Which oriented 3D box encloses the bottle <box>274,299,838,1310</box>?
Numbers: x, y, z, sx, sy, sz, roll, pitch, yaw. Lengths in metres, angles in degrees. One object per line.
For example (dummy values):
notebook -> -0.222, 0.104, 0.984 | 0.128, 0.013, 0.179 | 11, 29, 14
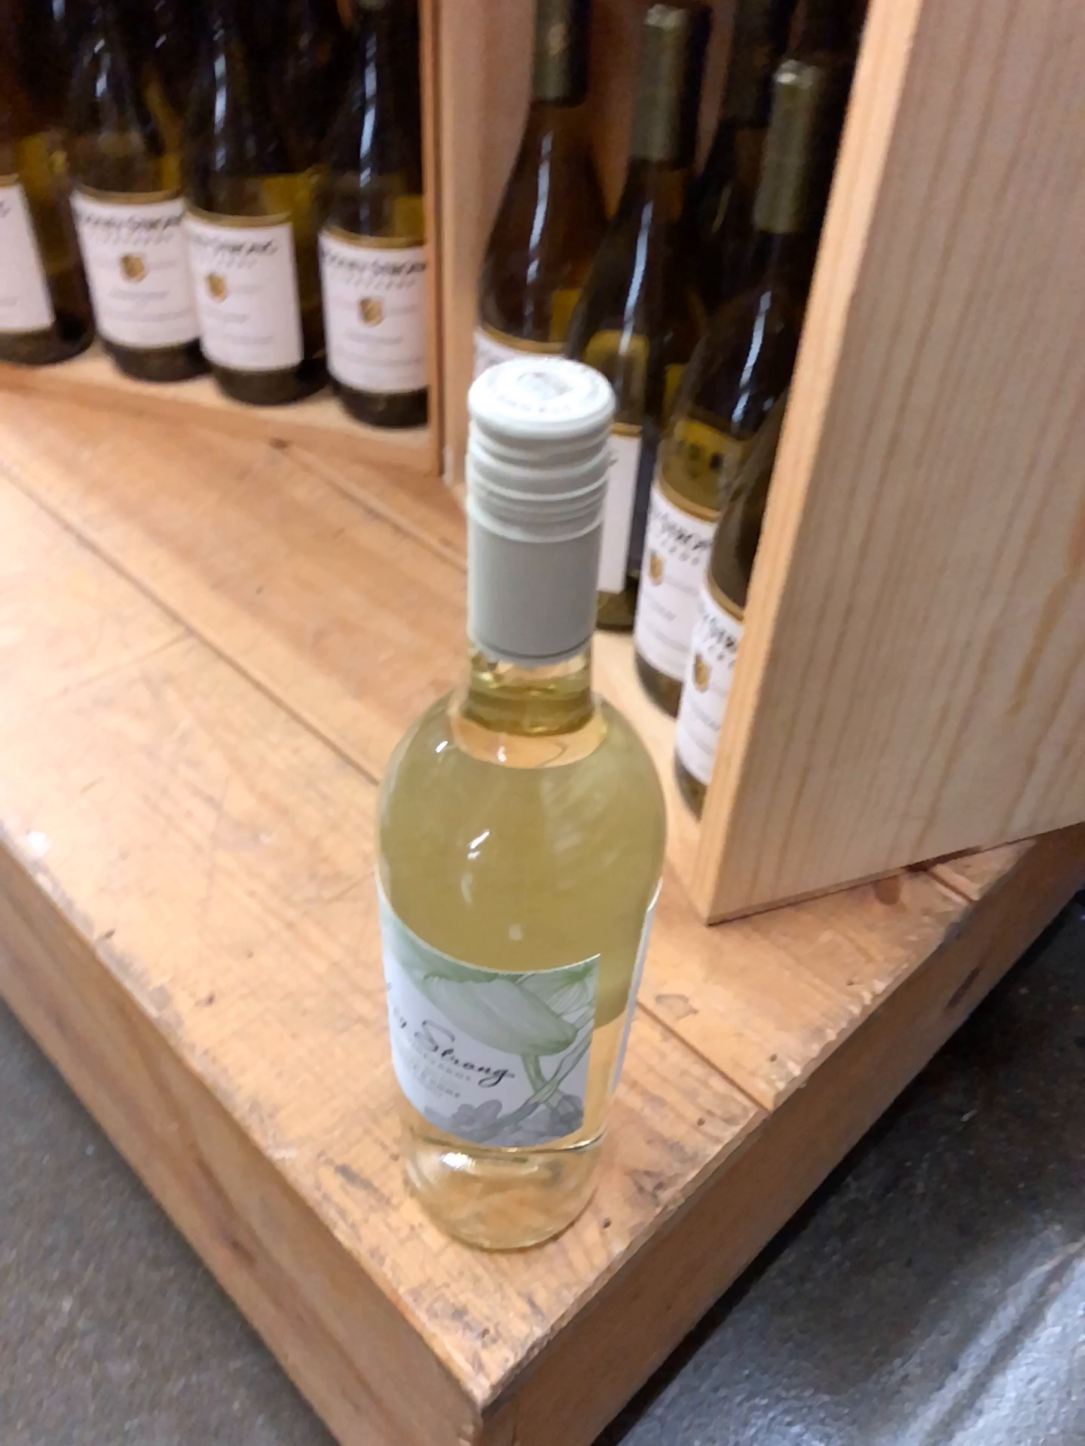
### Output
bottle -> -0.004, 0.046, 0.324 | 0.079, 0.283, 0.073 | 2, 43, -2
